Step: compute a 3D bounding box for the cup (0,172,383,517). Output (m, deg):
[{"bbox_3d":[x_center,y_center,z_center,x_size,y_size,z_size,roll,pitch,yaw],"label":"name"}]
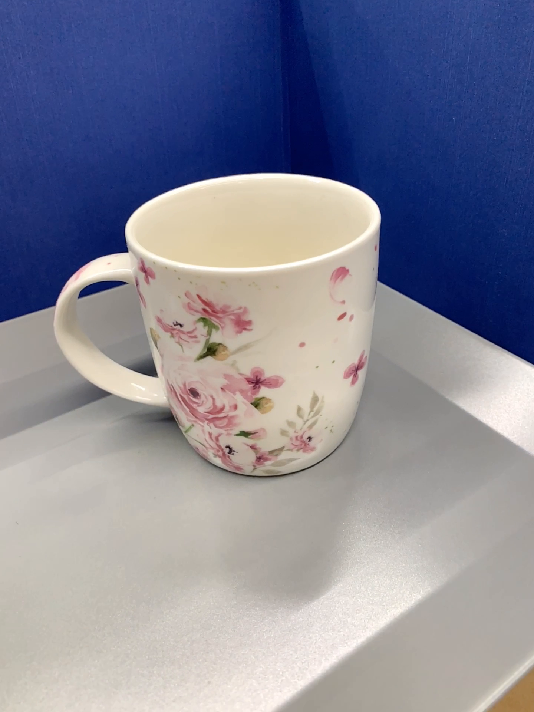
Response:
[{"bbox_3d":[-0.018,-0.010,0.200,0.110,0.087,0.085,3,33,9],"label":"cup"}]
